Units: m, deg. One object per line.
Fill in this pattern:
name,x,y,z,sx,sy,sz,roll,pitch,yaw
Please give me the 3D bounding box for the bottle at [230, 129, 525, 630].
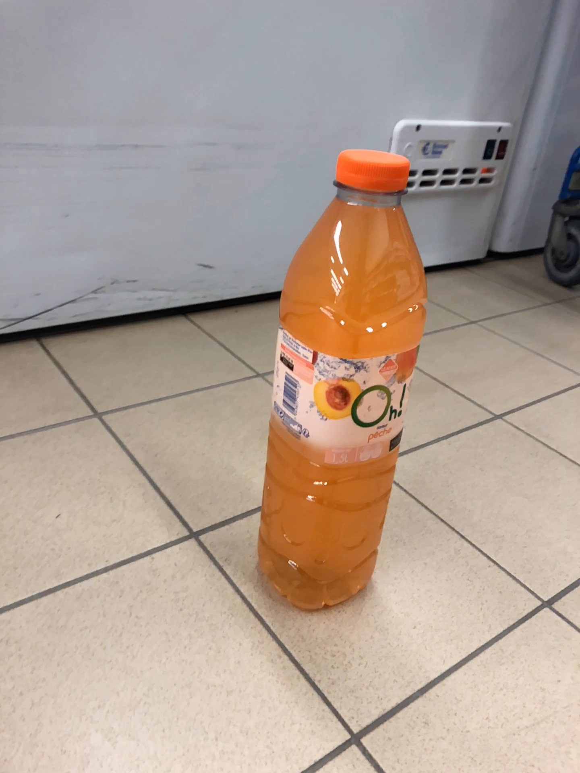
bottle,0.040,0.000,0.420,0.100,0.298,0.100,6,28,-3
